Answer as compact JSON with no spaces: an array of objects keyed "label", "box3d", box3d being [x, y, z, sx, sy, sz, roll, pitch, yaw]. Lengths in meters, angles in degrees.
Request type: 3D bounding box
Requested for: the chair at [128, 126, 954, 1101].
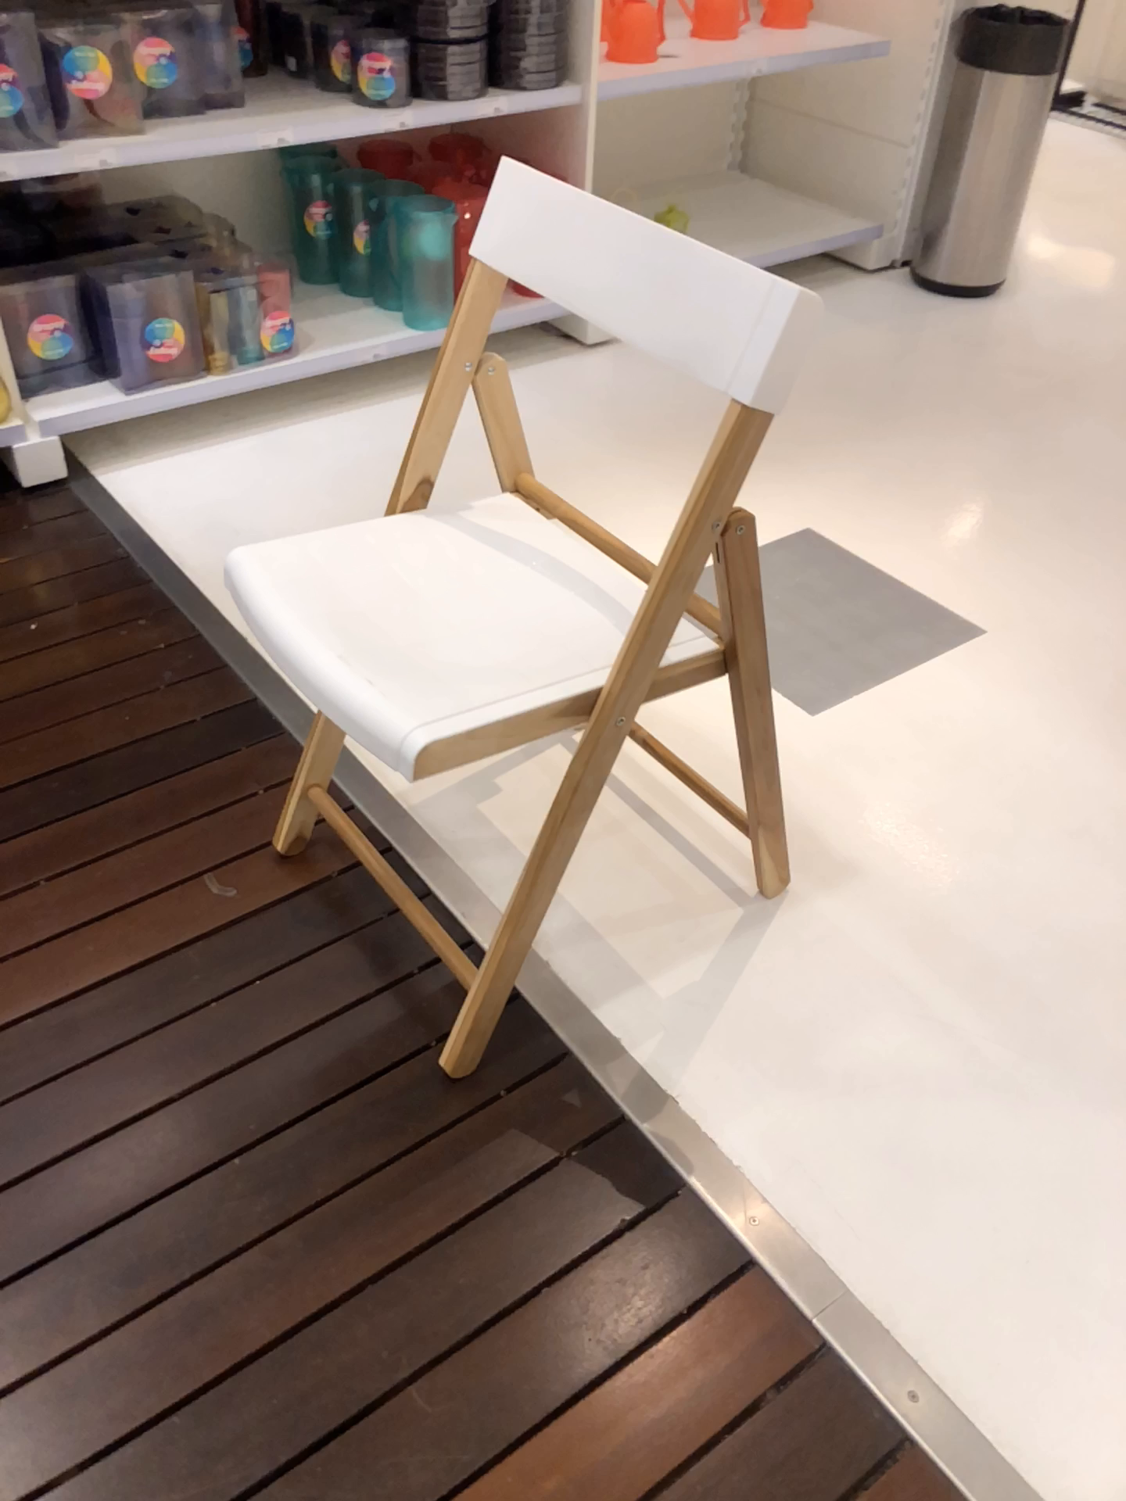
[{"label":"chair","box3d":[-0.028,-0.148,1.267,0.512,0.734,0.472,-25,46,-26]}]
